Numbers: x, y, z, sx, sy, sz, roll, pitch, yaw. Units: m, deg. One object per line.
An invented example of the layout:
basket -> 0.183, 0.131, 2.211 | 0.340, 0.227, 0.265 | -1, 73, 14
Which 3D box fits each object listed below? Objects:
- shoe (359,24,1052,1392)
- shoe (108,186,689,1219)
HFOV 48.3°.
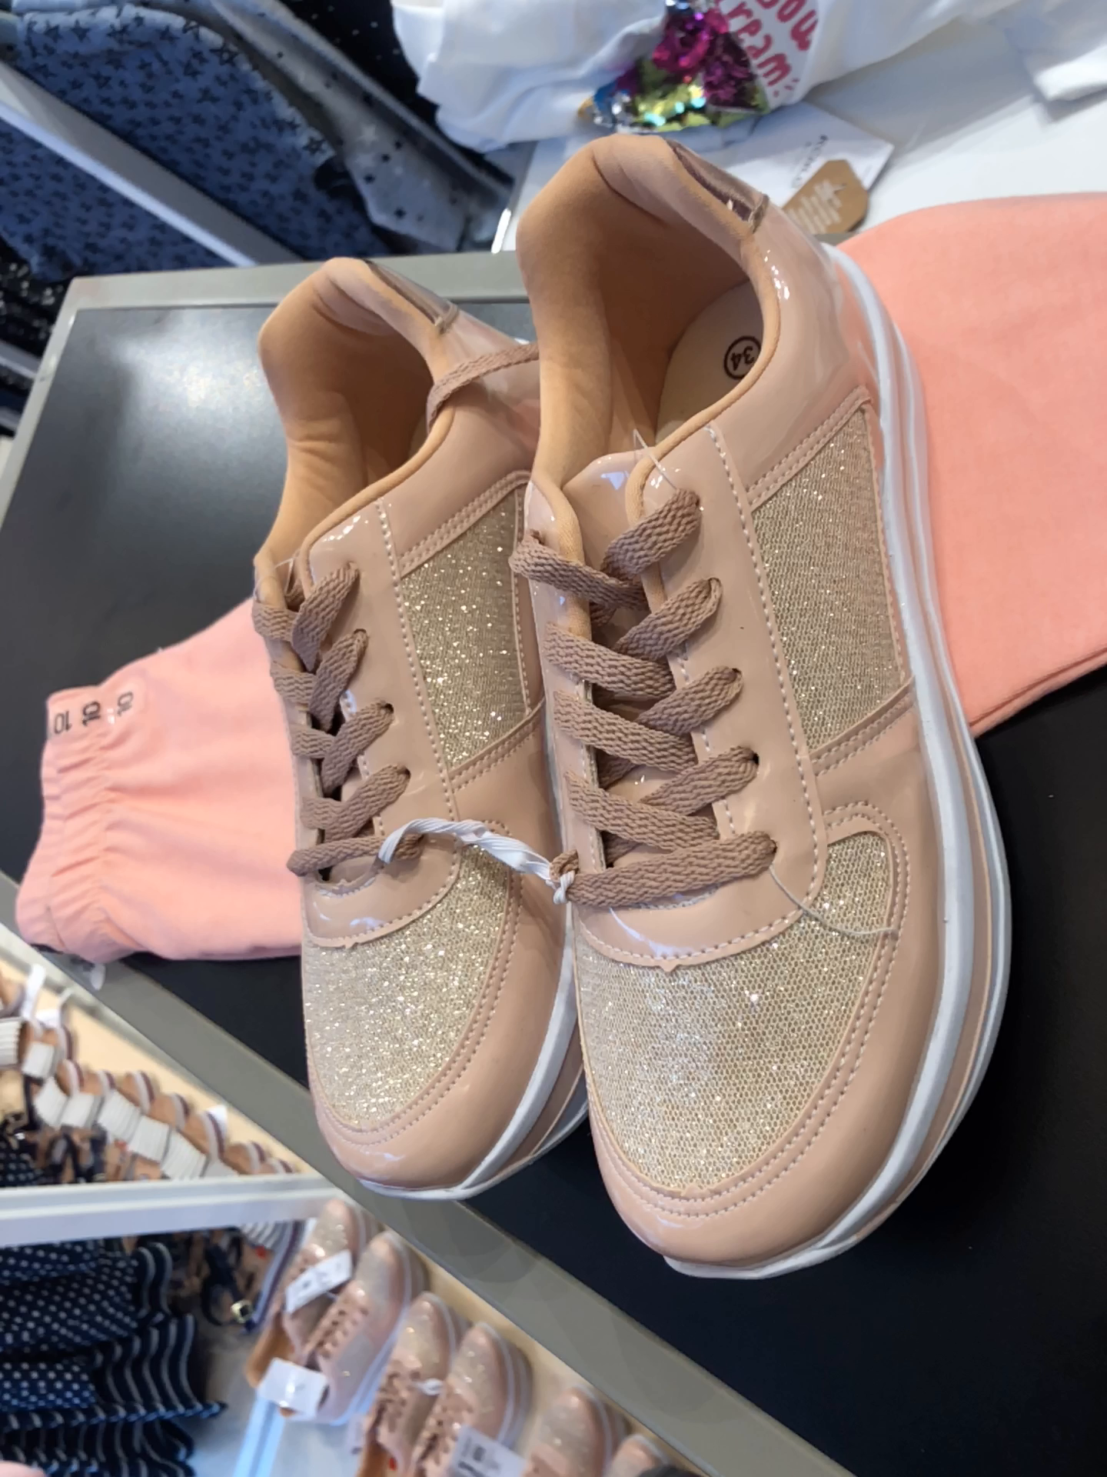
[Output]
shoe -> 0.033, -0.005, 0.252 | 0.090, 0.090, 0.220 | -10, 71, 38
shoe -> -0.031, -0.002, 0.317 | 0.090, 0.100, 0.220 | -10, 71, 38
